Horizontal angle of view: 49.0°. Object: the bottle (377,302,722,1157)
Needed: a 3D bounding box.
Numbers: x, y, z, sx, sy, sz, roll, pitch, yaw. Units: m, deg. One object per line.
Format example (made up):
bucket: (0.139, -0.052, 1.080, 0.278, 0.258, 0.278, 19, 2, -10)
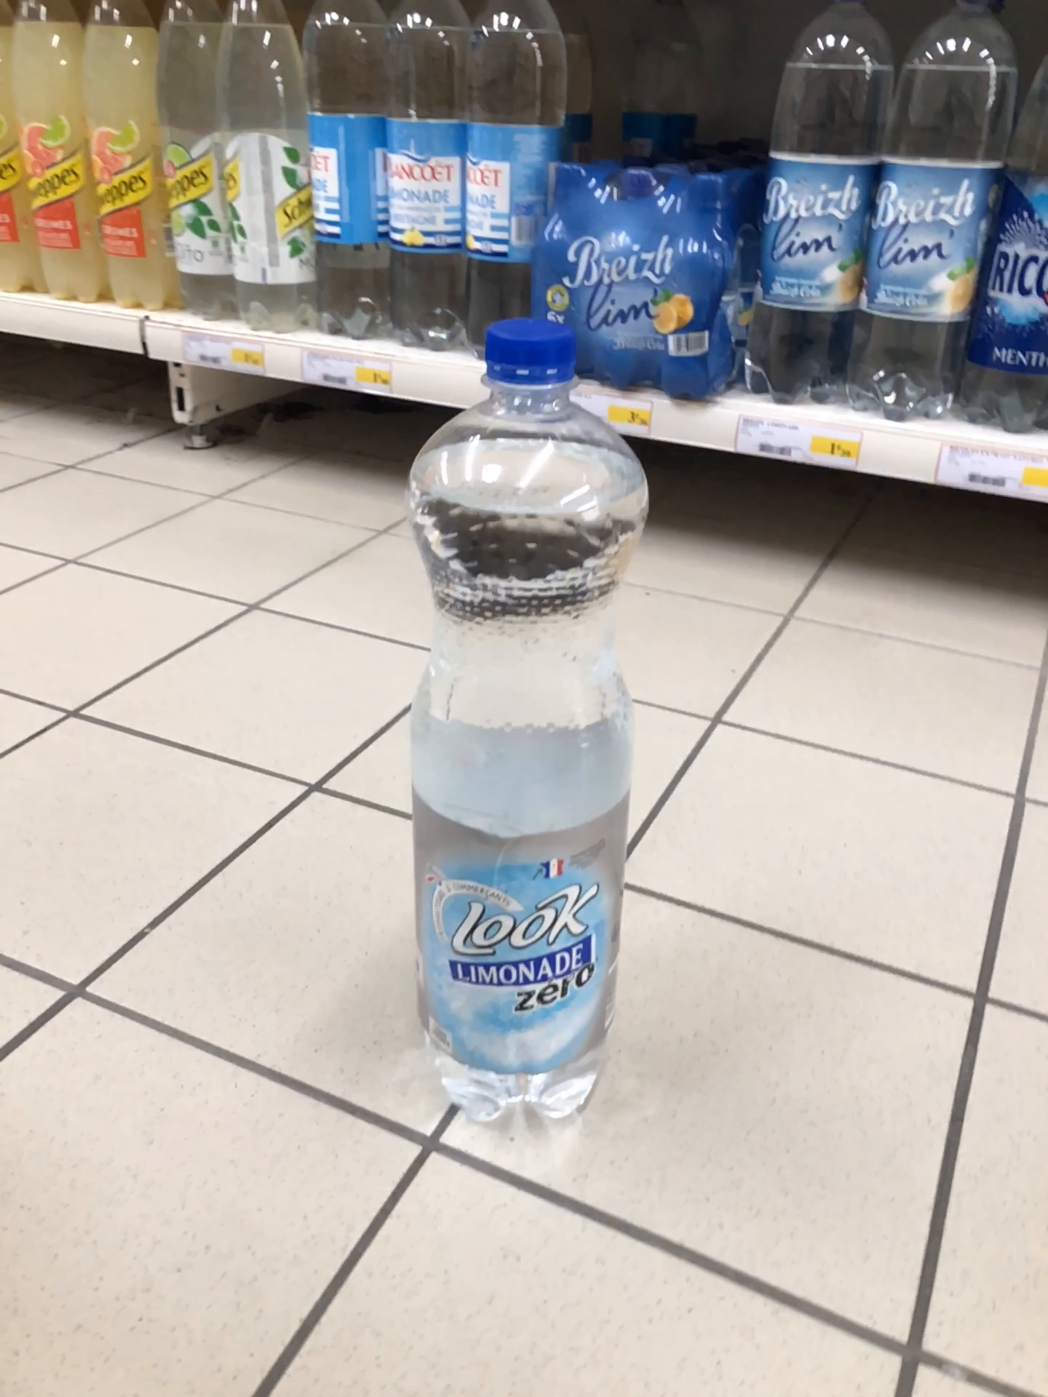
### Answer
bottle: (-0.001, 0.022, 0.460, 0.100, 0.328, 0.100, 1, 28, -1)
